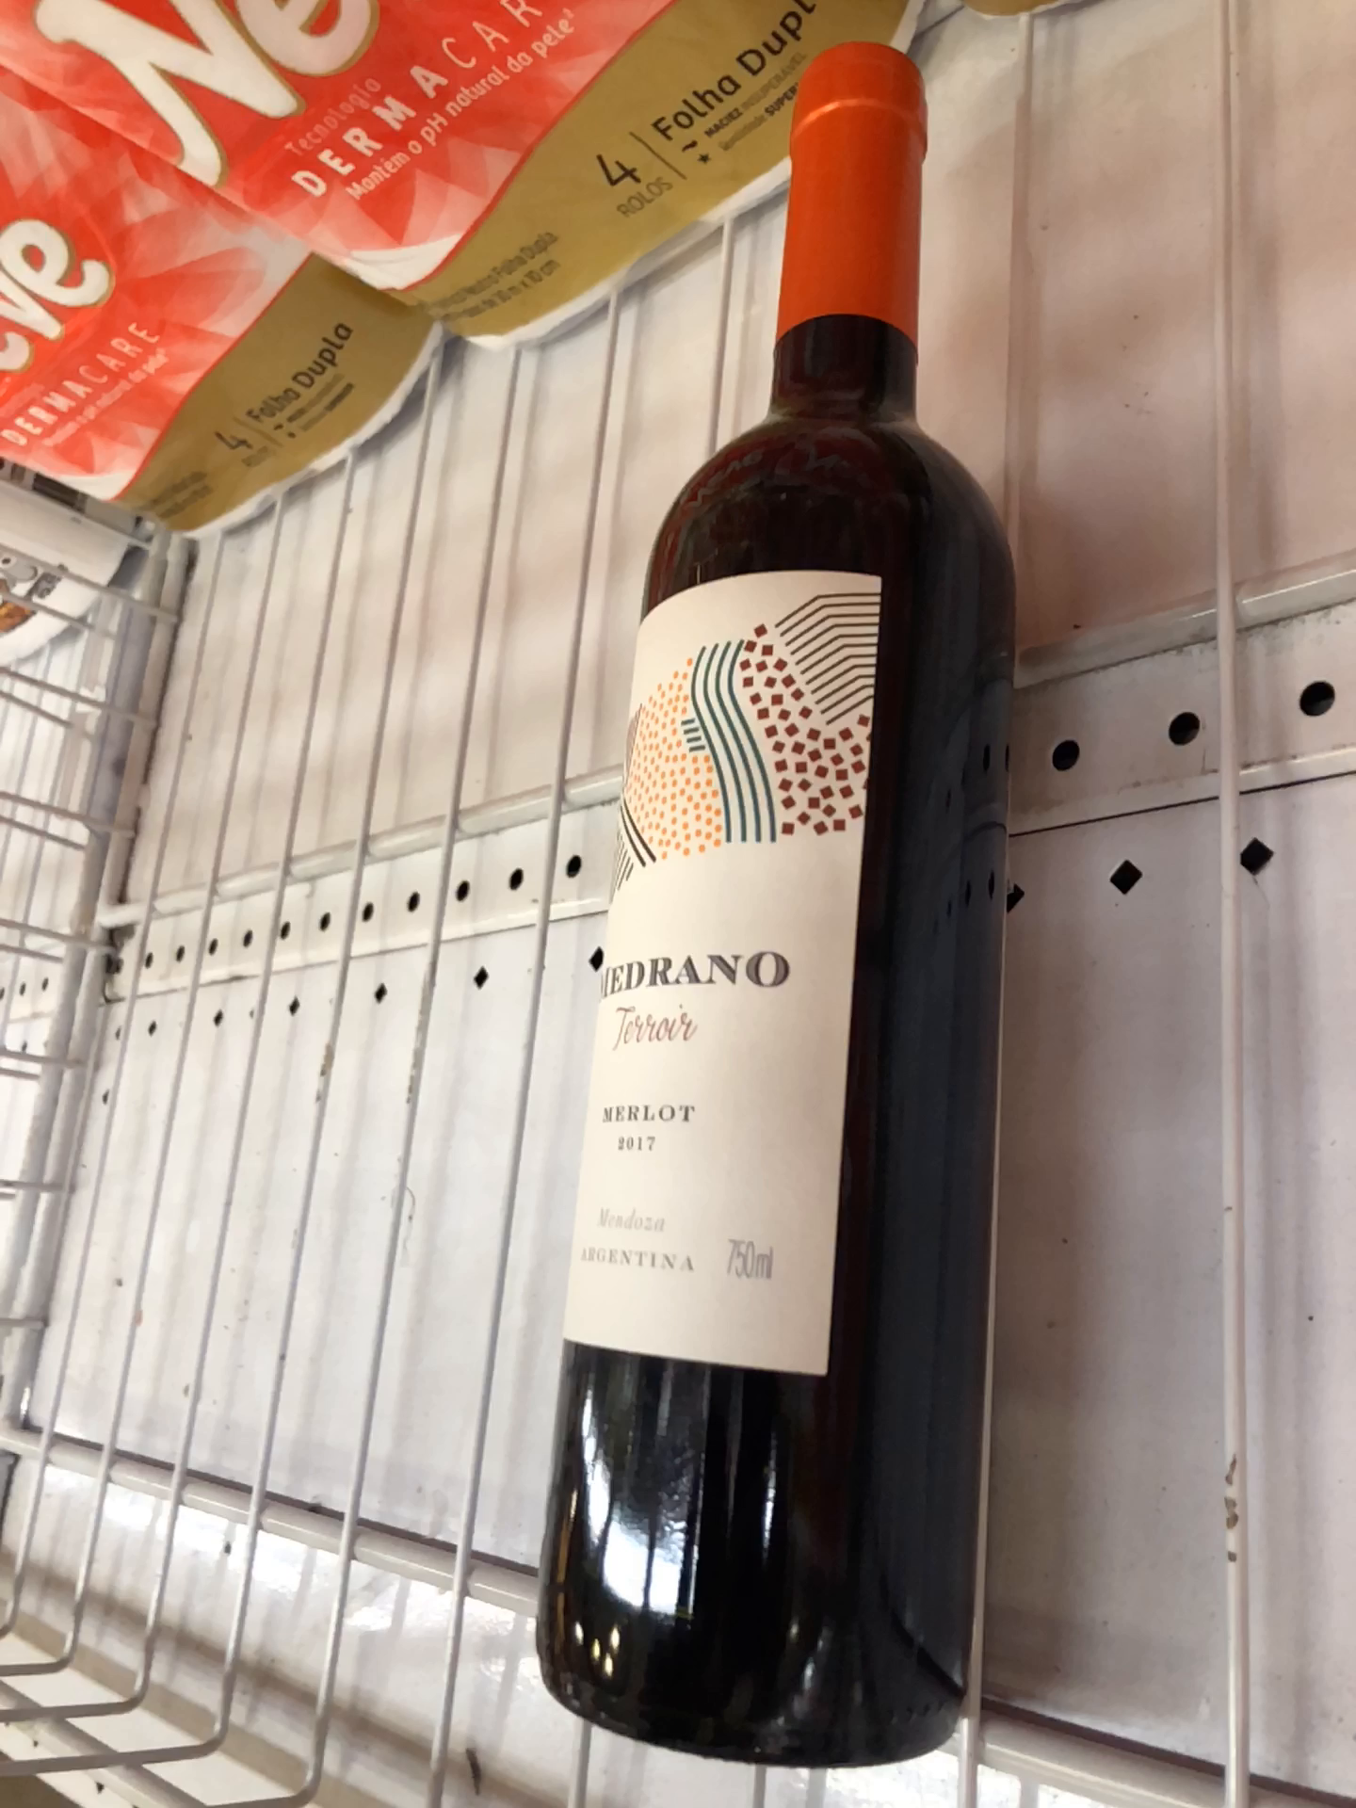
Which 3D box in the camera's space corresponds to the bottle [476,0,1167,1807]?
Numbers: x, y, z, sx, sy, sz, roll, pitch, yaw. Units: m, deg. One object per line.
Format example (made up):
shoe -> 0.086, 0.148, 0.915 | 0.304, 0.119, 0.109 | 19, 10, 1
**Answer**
bottle -> 0.037, -0.021, 0.293 | 0.080, 0.070, 0.330 | -9, 68, 45
